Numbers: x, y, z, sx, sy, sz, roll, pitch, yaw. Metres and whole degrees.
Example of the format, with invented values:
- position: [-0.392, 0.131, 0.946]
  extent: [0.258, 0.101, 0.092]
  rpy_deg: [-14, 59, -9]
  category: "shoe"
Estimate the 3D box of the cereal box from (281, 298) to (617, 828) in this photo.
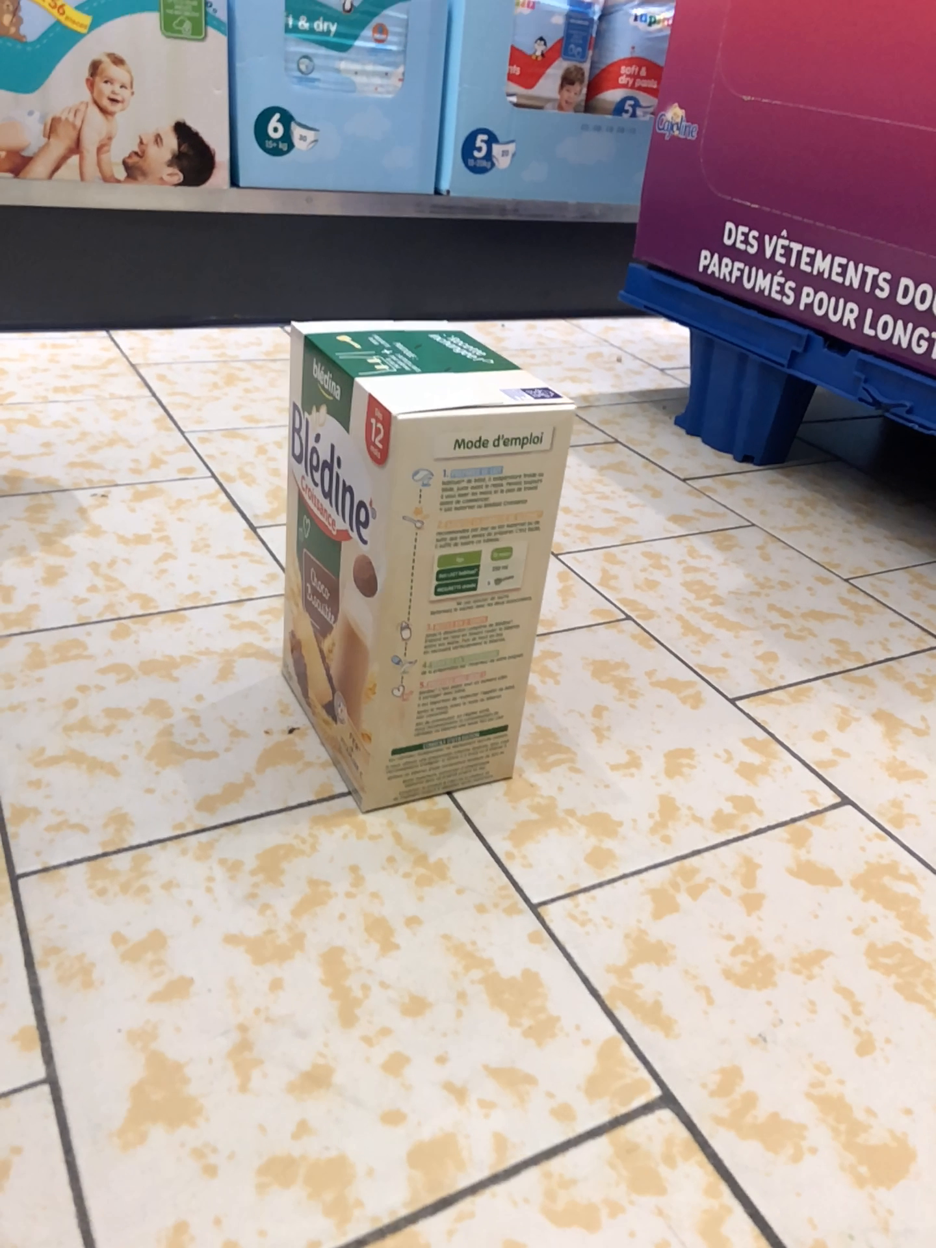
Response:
- position: [-0.021, -0.032, 0.438]
  extent: [0.080, 0.179, 0.130]
  rpy_deg: [-8, 32, -25]
  category: "cereal box"
